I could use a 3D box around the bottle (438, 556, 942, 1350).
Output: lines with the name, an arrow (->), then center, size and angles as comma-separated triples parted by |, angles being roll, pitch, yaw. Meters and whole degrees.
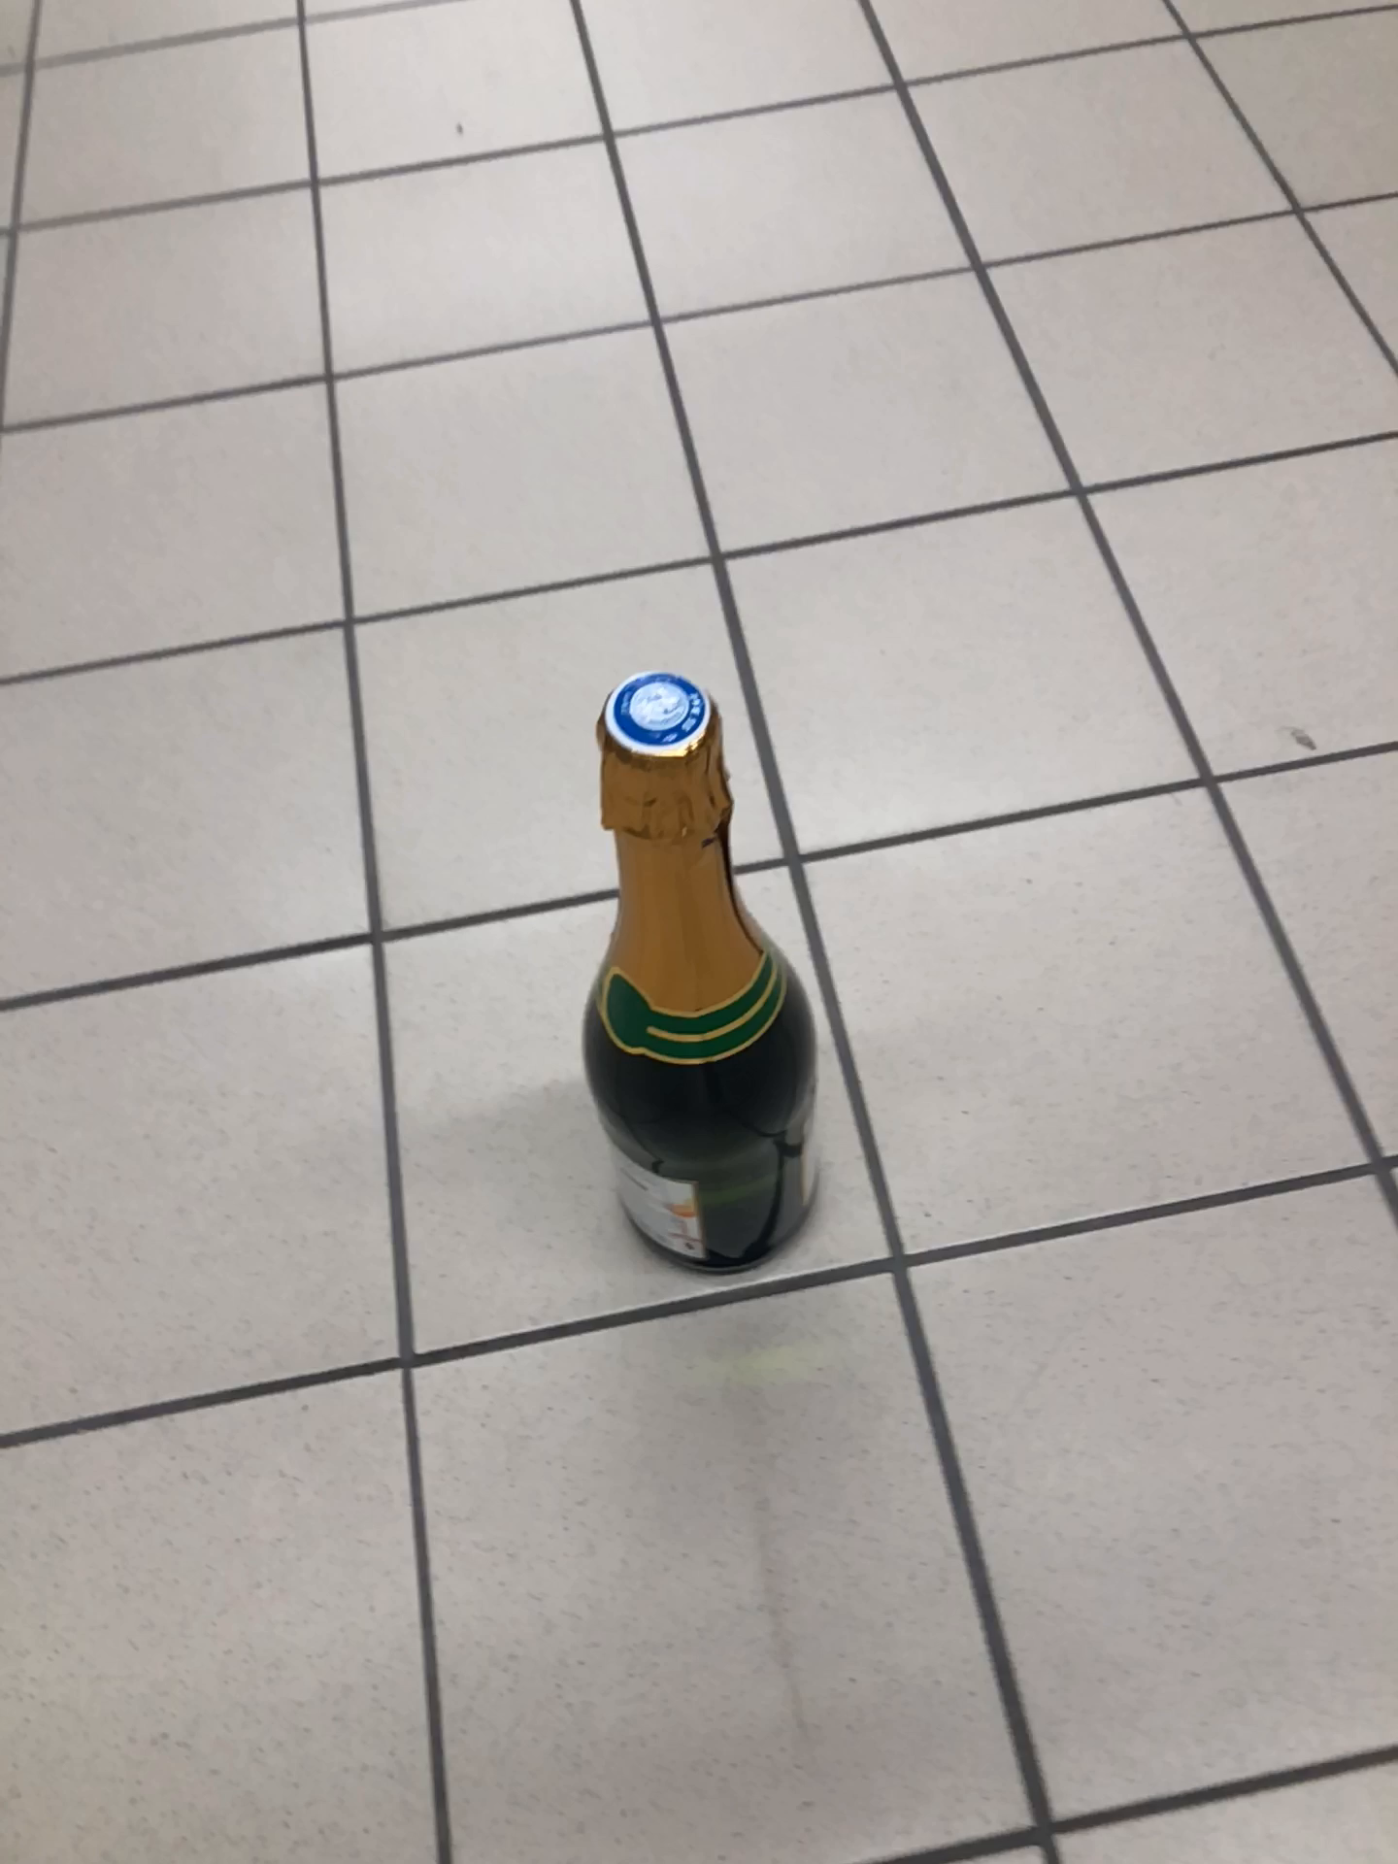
bottle -> 0.007, 0.030, 0.515 | 0.090, 0.299, 0.090 | -2, 57, 3
